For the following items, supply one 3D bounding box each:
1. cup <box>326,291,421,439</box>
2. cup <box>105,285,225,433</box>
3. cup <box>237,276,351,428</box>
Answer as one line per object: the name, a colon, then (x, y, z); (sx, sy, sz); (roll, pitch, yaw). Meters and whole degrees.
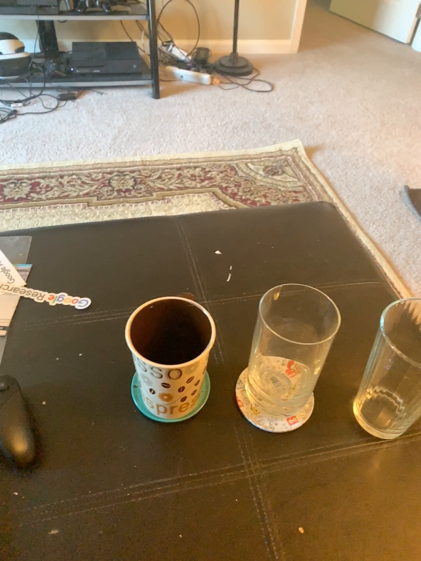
cup: (0.180, 0.088, 0.431); (0.080, 0.139, 0.080); (2, 45, -2)
cup: (-0.041, 0.079, 0.432); (0.090, 0.099, 0.090); (2, 45, -2)
cup: (0.073, 0.074, 0.425); (0.080, 0.129, 0.080); (2, 45, -2)
